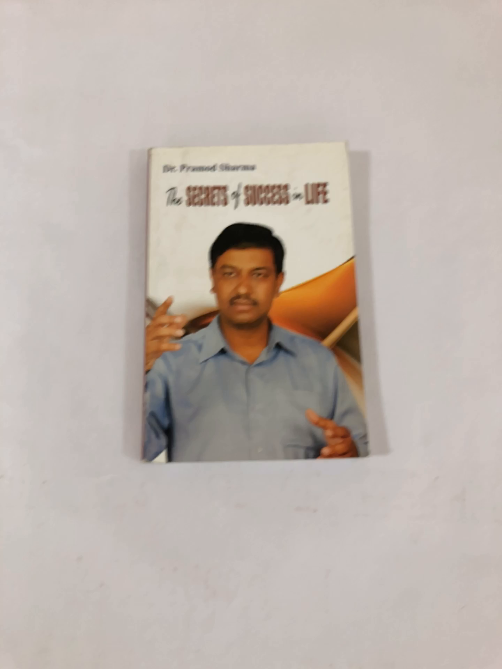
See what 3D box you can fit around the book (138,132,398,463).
[{"bbox_3d":[0.006,-0.029,0.359,0.150,0.020,0.210,-2,76,-1],"label":"book"}]
